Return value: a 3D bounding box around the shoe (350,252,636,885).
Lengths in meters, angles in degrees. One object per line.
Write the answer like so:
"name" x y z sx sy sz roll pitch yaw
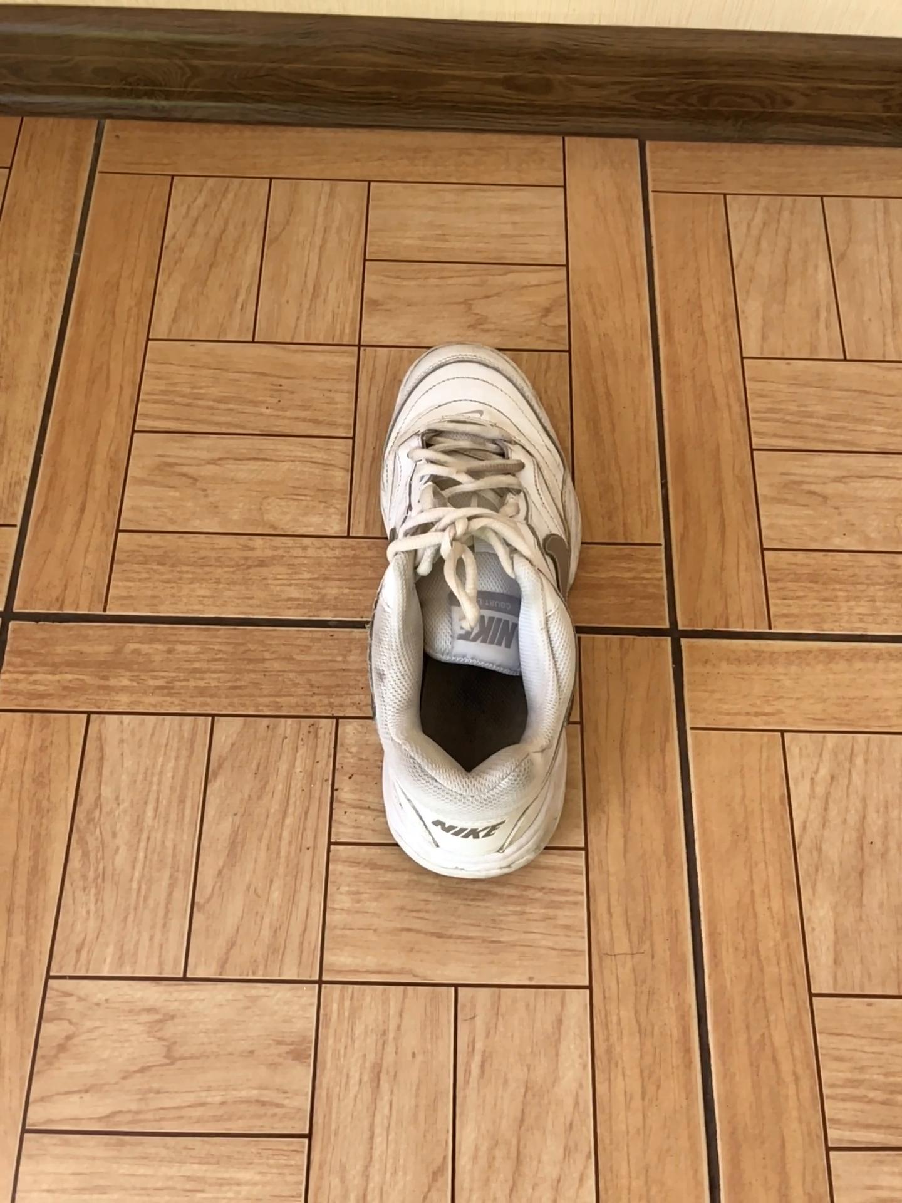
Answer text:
"shoe" 0.014 -0.015 0.441 0.100 0.100 0.260 1 69 -1
